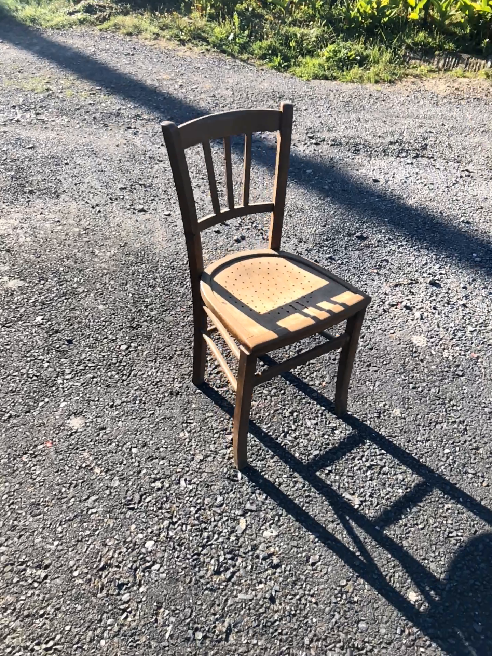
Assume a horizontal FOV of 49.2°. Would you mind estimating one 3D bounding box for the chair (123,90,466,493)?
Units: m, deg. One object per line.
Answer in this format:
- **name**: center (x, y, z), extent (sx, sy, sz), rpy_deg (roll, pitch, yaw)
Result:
- **chair**: center (0.057, -0.101, 1.361), extent (0.491, 0.735, 0.542), rpy_deg (-21, 49, -26)
